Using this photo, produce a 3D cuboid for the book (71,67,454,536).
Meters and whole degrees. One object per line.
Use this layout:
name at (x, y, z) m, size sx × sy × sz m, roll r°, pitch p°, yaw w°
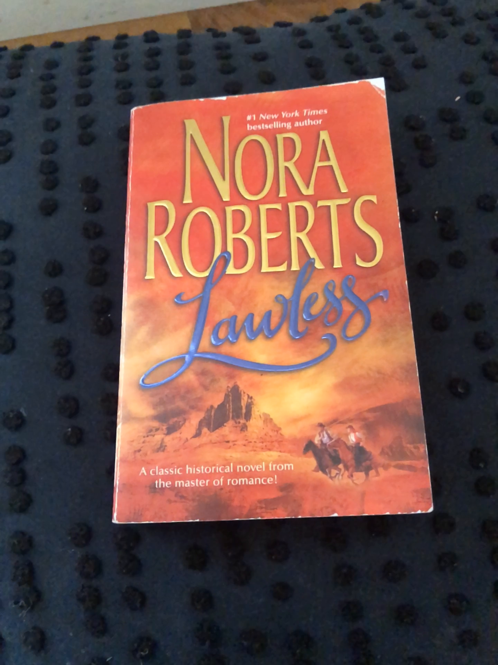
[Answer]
book at (0.001, -0.018, 0.221) m, size 0.120 × 0.040 × 0.180 m, roll -1°, pitch 72°, yaw -2°
